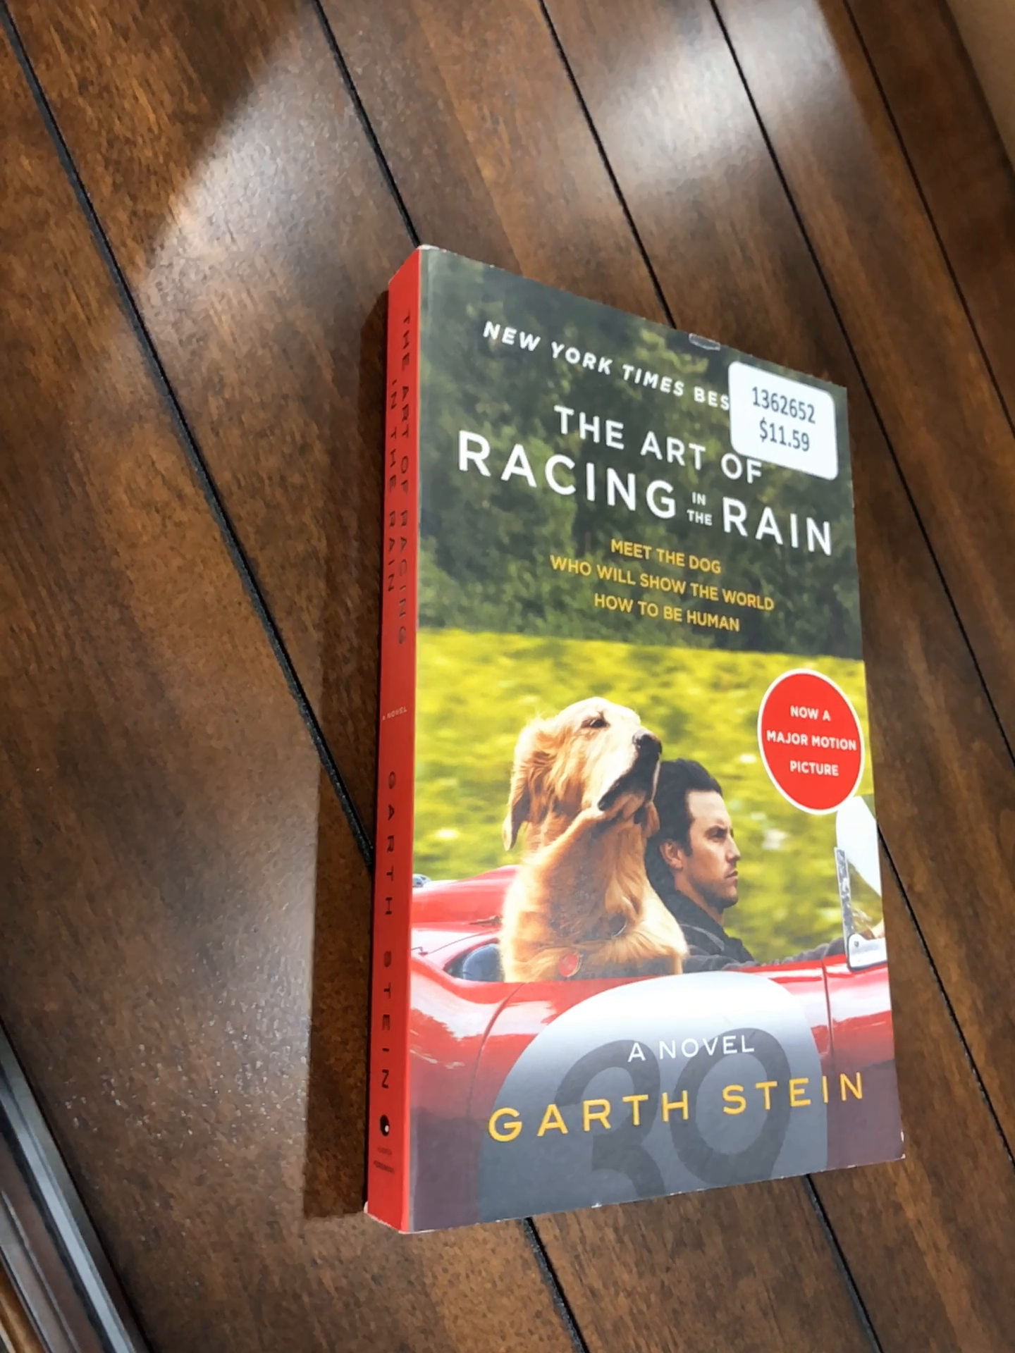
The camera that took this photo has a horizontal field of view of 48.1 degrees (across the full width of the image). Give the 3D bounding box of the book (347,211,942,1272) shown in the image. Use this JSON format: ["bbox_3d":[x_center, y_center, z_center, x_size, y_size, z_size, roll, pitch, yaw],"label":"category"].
[{"bbox_3d":[0.035,0.012,0.269,0.141,0.028,0.210,8,74,-31],"label":"book"}]
